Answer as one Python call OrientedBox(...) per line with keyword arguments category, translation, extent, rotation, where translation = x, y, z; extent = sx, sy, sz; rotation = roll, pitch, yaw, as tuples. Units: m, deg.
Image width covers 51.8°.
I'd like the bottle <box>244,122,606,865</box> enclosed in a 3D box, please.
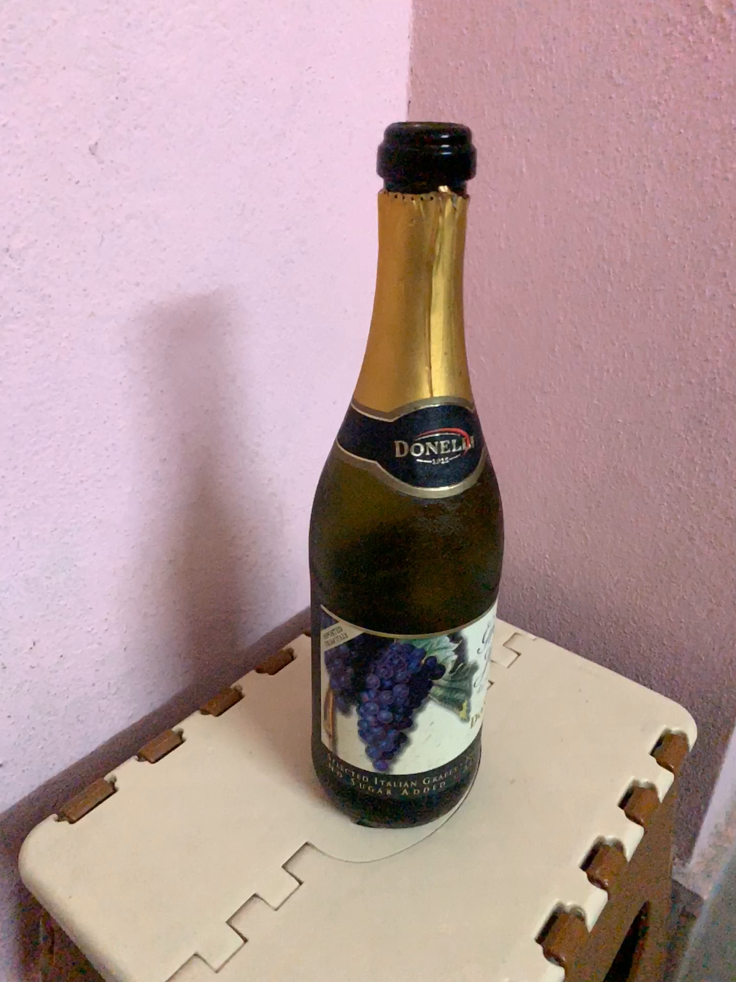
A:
OrientedBox(category="bottle", translation=(0.011, 0.012, 0.297), extent=(0.090, 0.279, 0.070), rotation=(-9, 30, -18))
